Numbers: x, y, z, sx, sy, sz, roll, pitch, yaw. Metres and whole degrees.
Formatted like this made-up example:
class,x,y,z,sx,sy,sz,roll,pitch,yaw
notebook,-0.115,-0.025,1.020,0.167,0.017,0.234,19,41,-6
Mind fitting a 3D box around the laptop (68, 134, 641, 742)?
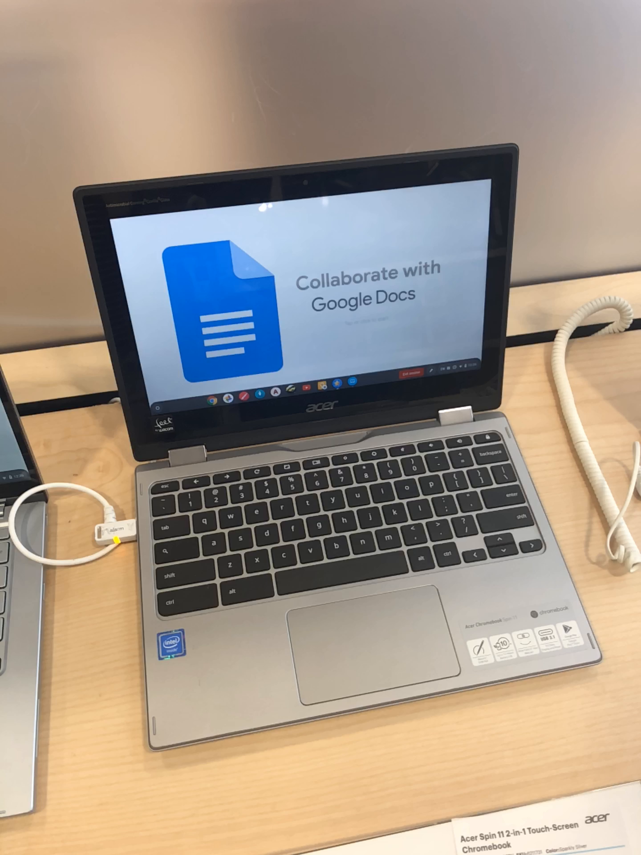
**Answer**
class,x,y,z,sx,sy,sz,roll,pitch,yaw
laptop,0.013,-0.003,0.448,0.287,0.176,0.296,-9,57,-7
